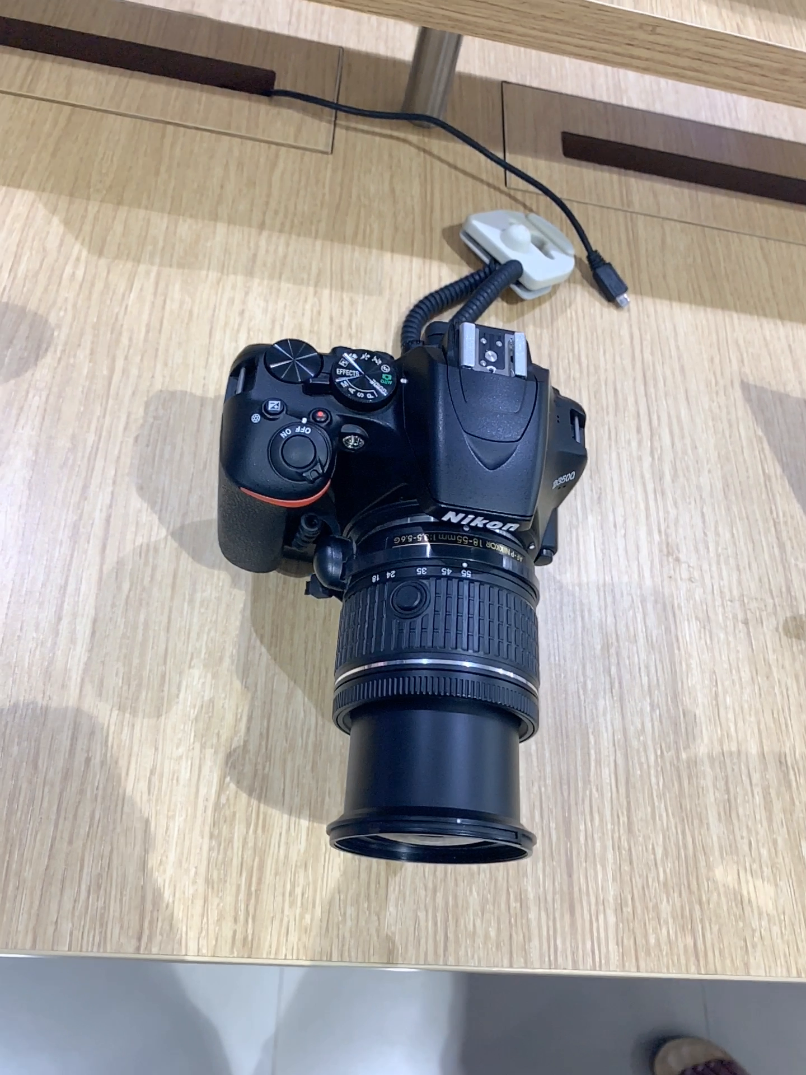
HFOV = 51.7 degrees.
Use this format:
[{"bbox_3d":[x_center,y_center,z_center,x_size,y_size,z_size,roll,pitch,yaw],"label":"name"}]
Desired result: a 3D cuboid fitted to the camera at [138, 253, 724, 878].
[{"bbox_3d":[0.001,0.016,0.235,0.115,0.100,0.136,6,62,-9],"label":"camera"}]
